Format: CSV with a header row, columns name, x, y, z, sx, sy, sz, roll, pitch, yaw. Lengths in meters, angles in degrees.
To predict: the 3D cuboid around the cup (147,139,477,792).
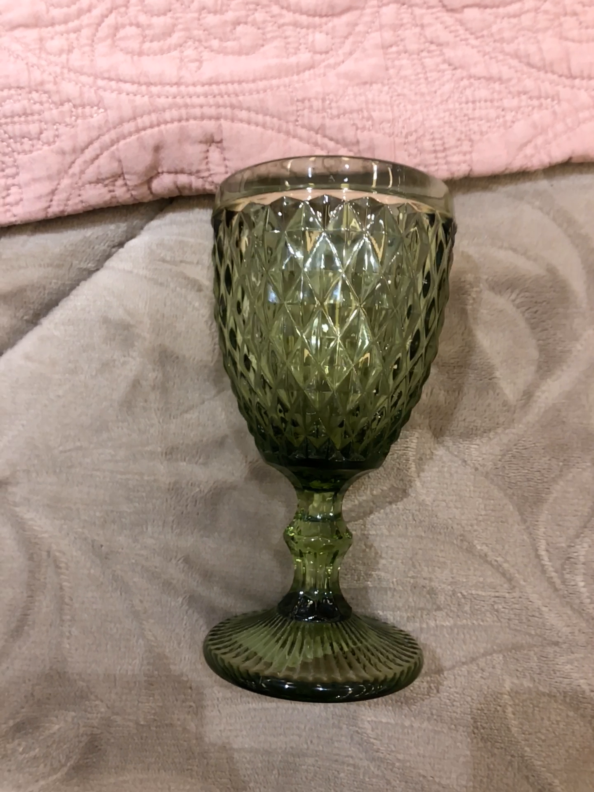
name,x,y,z,sx,sy,sz,roll,pitch,yaw
cup,0.007,0.020,0.237,0.090,0.080,0.190,3,84,1
